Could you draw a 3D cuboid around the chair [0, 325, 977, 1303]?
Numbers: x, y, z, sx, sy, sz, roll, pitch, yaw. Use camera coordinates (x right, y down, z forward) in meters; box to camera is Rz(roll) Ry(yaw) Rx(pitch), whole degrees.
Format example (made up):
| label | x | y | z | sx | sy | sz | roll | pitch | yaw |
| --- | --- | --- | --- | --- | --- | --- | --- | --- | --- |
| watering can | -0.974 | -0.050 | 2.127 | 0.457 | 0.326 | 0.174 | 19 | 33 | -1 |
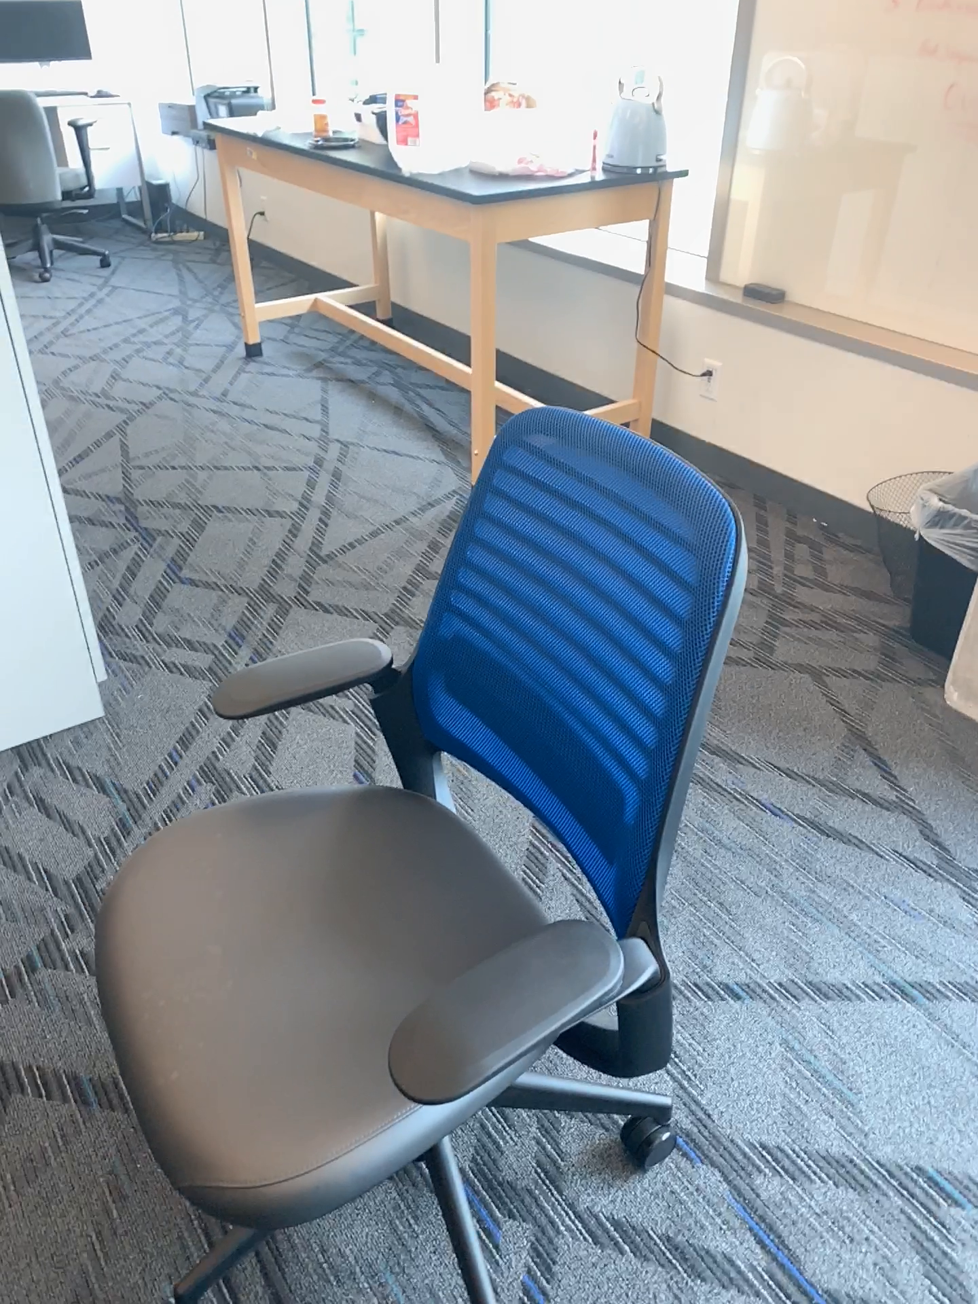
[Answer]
| label | x | y | z | sx | sy | sz | roll | pitch | yaw |
| --- | --- | --- | --- | --- | --- | --- | --- | --- | --- |
| chair | -0.116 | 0.252 | 1.009 | 0.682 | 0.882 | 0.704 | -21 | 39 | -29 |
